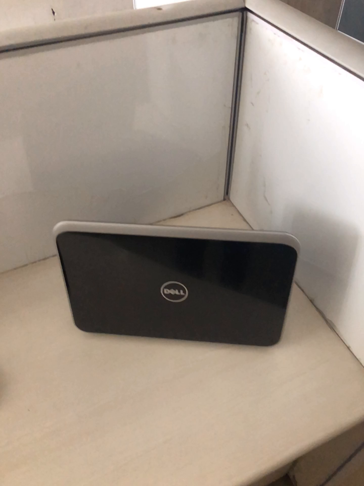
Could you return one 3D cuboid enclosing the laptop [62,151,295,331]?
[{"bbox_3d":[0.006,-0.006,0.737,0.333,0.217,0.240,4,45,2],"label":"laptop"}]
